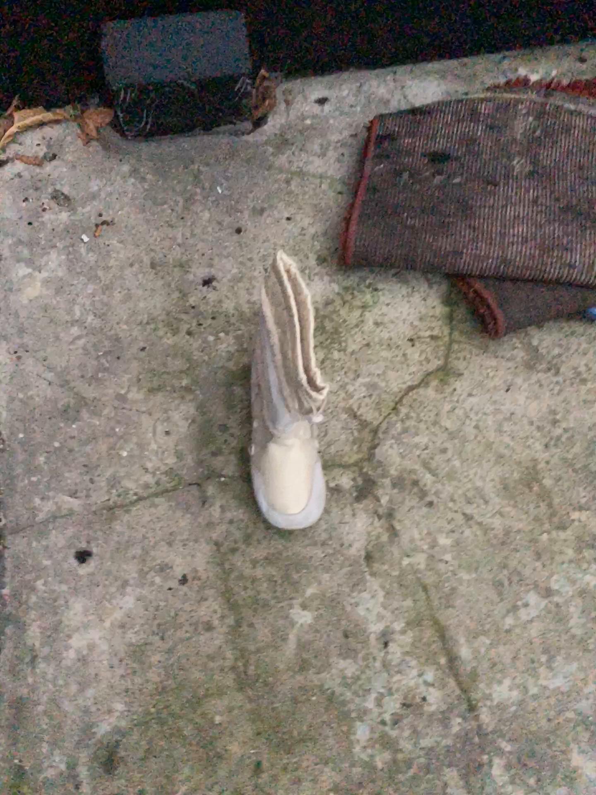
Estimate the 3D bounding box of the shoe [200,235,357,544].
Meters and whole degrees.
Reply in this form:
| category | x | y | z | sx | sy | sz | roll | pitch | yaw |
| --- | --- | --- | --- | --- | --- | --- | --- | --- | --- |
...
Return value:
| category | x | y | z | sx | sy | sz | roll | pitch | yaw |
| --- | --- | --- | --- | --- | --- | --- | --- | --- | --- |
| shoe | -0.026 | 0.014 | 0.727 | 0.110 | 0.299 | 0.271 | -9 | 70 | -4 |
